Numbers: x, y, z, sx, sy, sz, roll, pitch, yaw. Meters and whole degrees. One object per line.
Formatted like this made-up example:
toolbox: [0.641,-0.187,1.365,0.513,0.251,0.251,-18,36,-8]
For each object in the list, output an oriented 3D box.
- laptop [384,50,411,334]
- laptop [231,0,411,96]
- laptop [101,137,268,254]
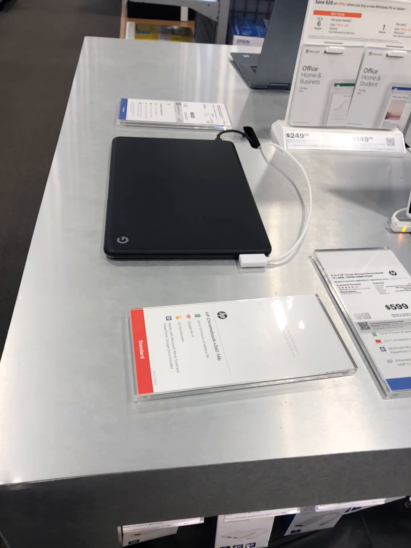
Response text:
laptop: [0.443,-0.107,0.523,0.302,0.206,0.276,-1,40,-9]
laptop: [0.249,-0.547,1.004,0.298,0.196,0.294,-3,41,-9]
laptop: [-0.039,-0.123,0.637,0.194,0.001,0.298,0,42,-8]
